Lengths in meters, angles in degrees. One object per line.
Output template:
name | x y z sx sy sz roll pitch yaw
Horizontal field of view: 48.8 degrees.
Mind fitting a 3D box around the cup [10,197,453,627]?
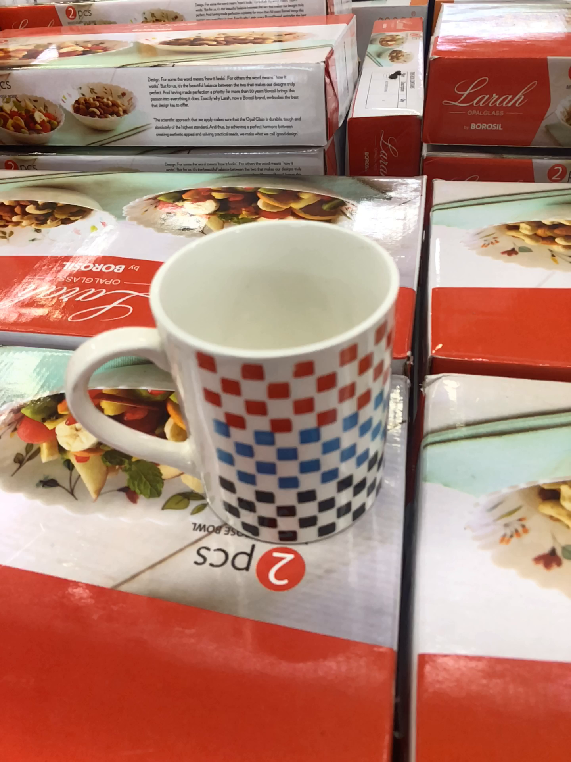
cup | -0.021 0.005 0.229 0.120 0.089 0.091 -16 42 -14
